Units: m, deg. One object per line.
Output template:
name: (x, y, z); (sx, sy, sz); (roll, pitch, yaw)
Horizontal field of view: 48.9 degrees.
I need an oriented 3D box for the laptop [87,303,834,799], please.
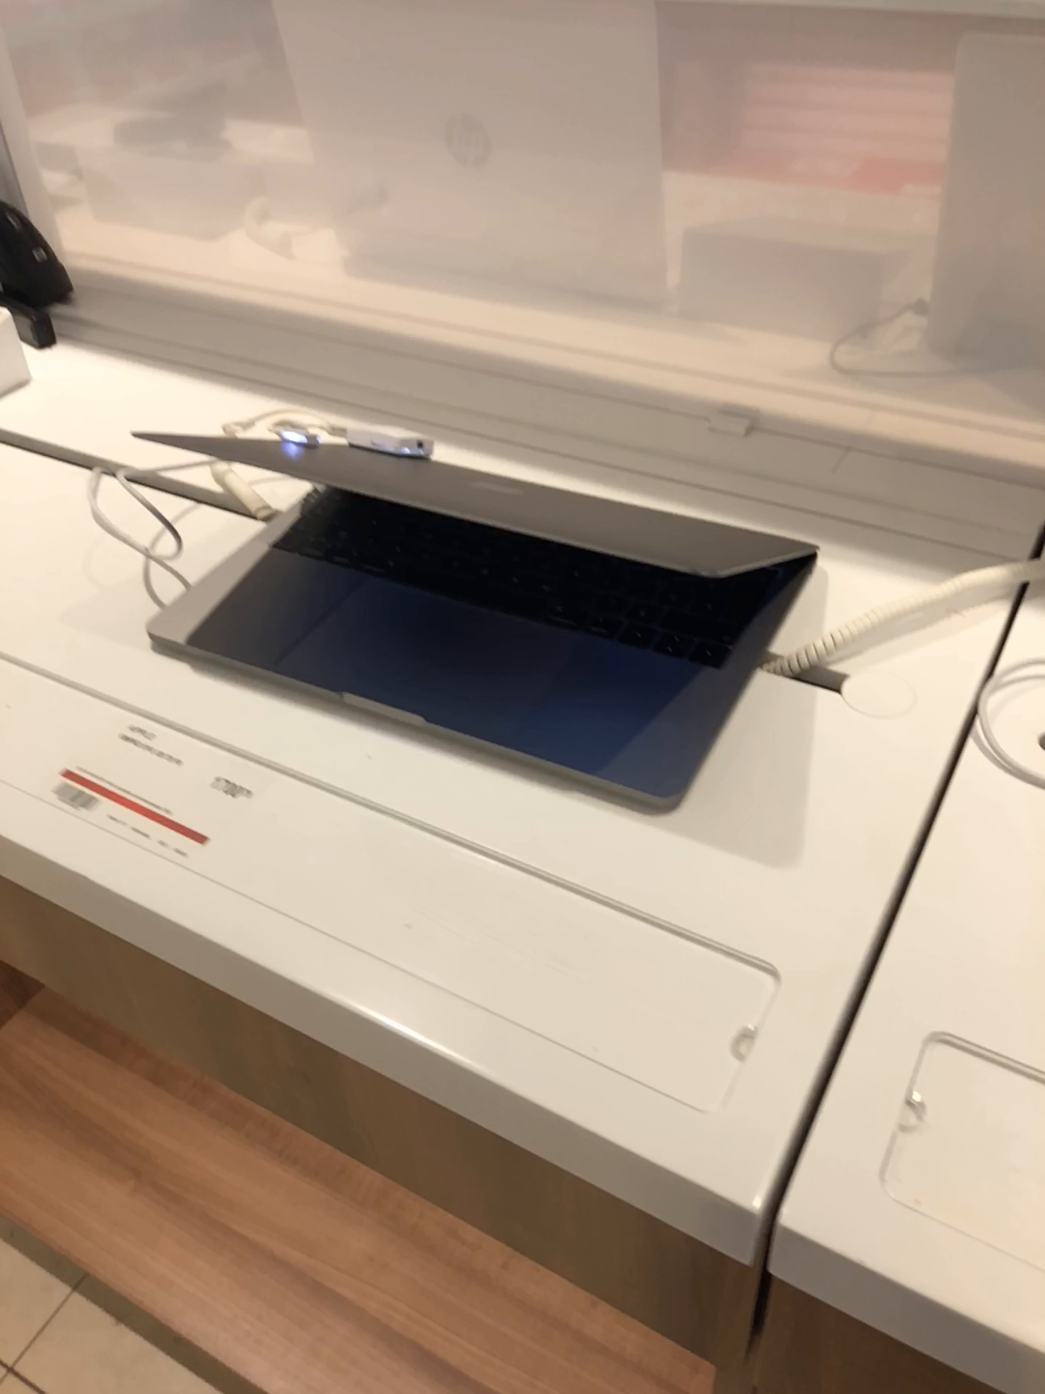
laptop: (-0.025, -0.095, 0.590); (0.304, 0.104, 0.202); (16, 44, 23)
